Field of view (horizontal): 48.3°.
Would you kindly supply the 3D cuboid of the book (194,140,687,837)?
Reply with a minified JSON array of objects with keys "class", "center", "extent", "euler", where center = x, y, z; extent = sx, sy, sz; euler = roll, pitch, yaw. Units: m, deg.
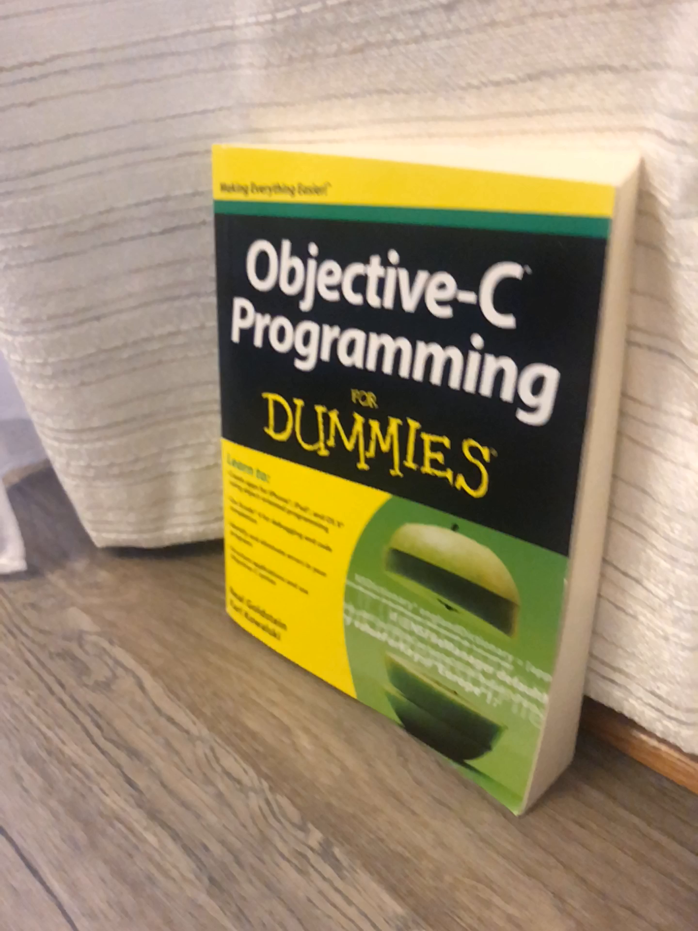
[{"class":"book","center":[0.014,-0.002,0.308],"extent":[0.184,0.229,0.033],"euler":[22,31,39]}]
